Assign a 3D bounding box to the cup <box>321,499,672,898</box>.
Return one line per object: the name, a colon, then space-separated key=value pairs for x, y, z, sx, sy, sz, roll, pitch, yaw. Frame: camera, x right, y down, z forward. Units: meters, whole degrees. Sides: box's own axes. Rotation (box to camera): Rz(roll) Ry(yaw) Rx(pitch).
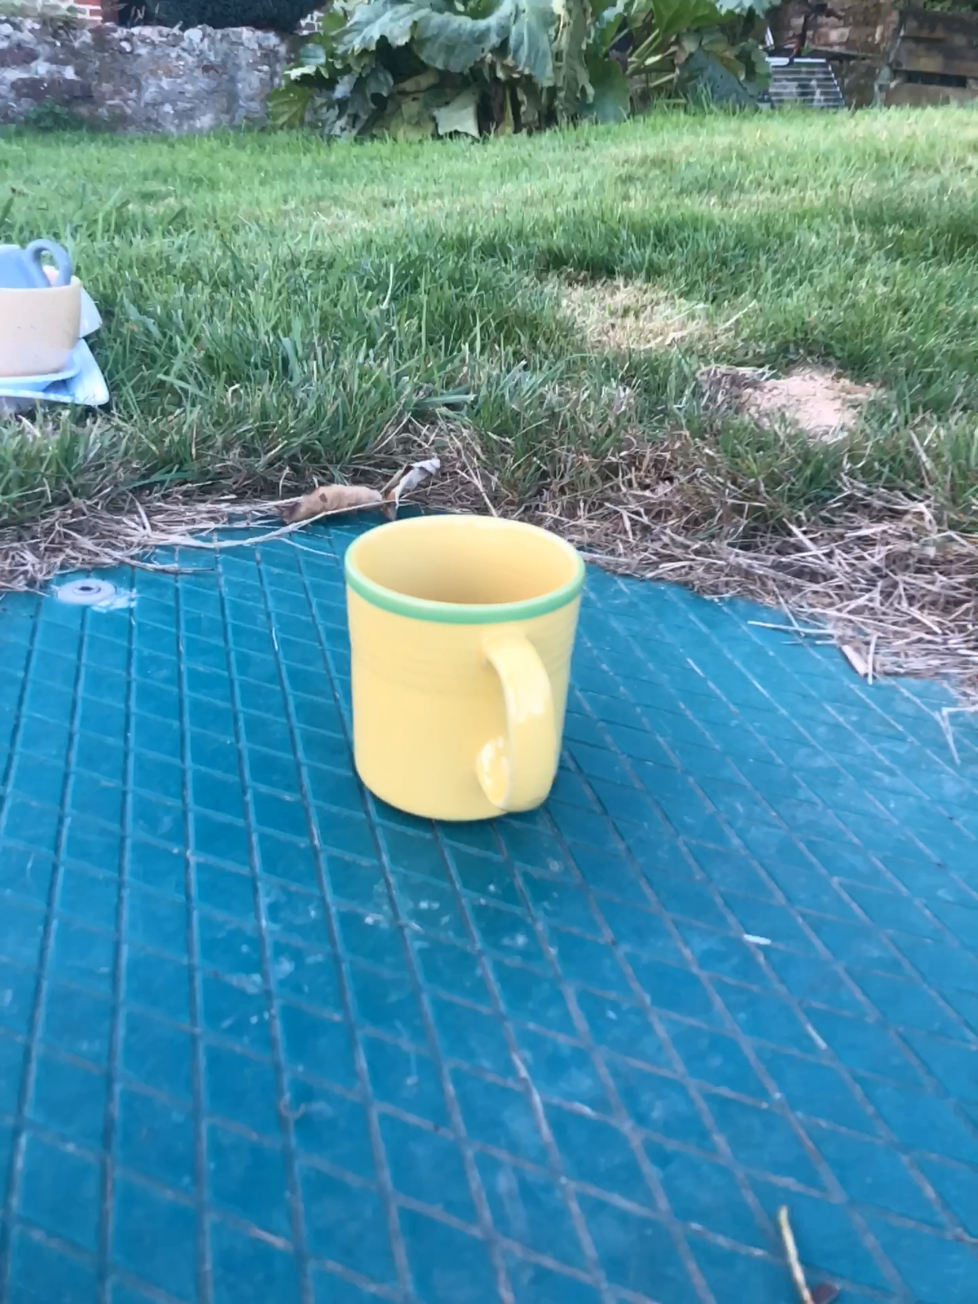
cup: x=-0.004 y=0.009 z=0.383 sx=0.086 sy=0.090 sz=0.115 roll=-7 pitch=27 yaw=-18
